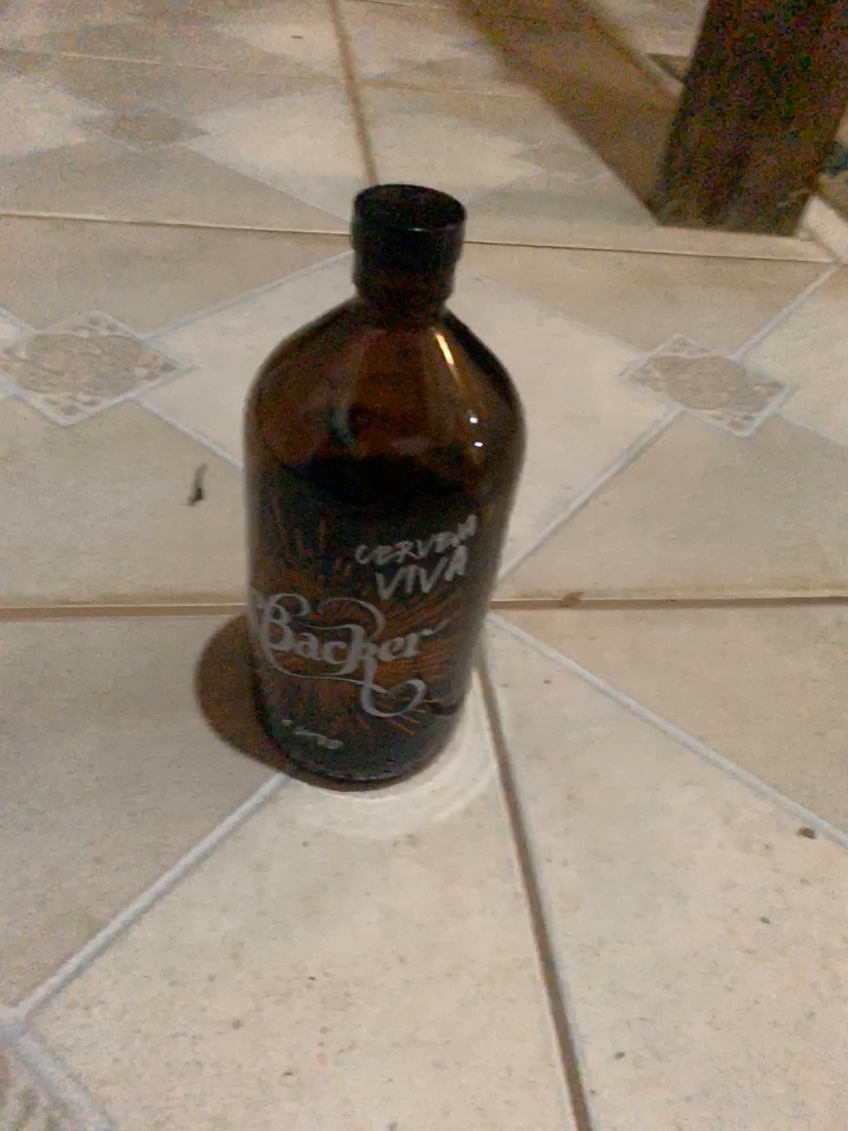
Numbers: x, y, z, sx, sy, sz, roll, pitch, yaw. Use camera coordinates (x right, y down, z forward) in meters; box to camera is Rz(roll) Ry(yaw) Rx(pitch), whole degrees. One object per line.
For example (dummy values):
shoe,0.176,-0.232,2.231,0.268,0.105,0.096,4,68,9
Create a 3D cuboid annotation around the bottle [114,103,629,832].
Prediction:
bottle,-0.018,-0.020,0.295,0.100,0.209,0.090,23,46,15
